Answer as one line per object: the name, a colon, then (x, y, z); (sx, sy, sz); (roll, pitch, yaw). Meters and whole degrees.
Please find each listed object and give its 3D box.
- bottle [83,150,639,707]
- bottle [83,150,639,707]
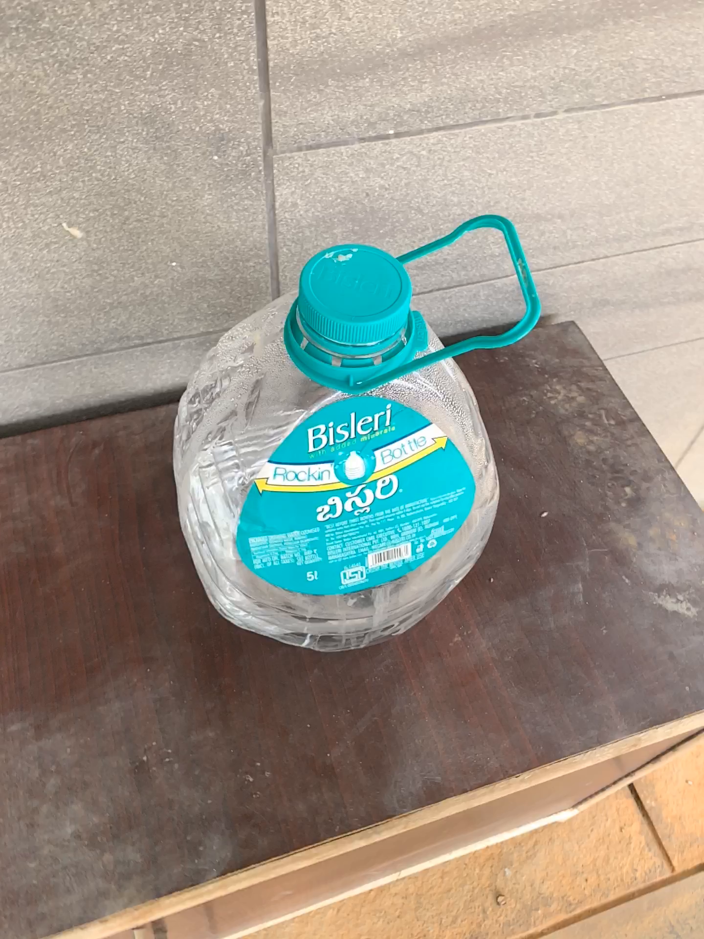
bottle: (-0.012, -0.014, 0.404); (0.200, 0.219, 0.180); (-12, 57, -10)
bottle: (-0.012, -0.014, 0.404); (0.200, 0.219, 0.180); (-12, 57, -10)
